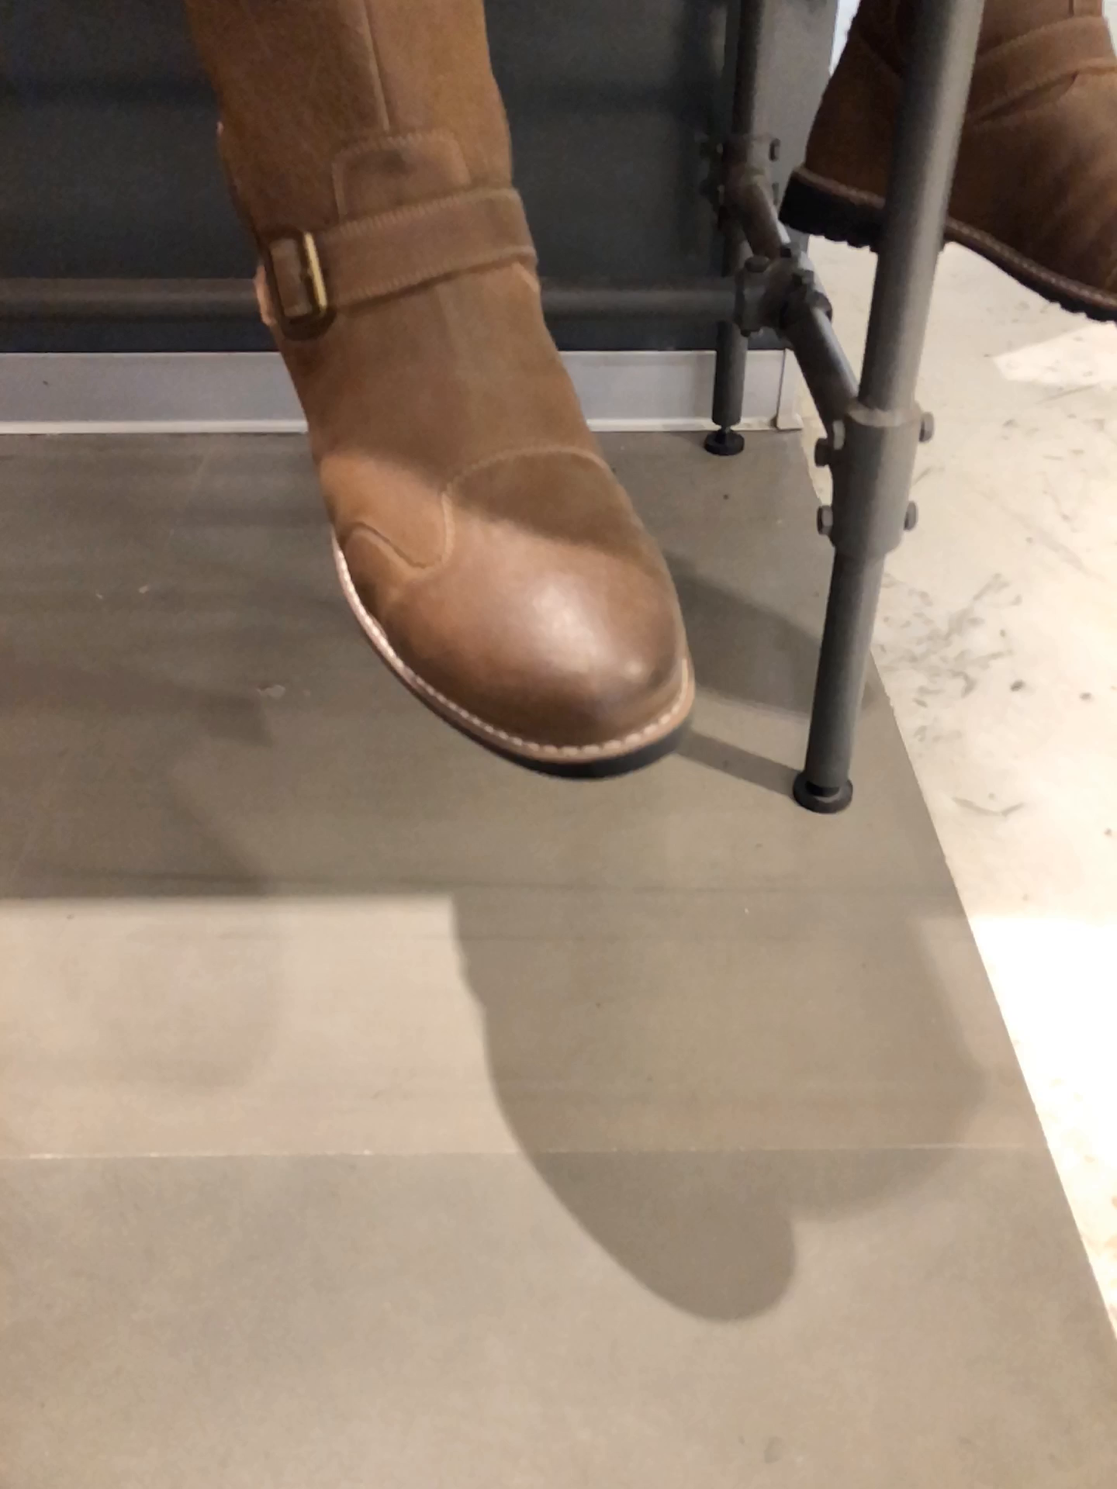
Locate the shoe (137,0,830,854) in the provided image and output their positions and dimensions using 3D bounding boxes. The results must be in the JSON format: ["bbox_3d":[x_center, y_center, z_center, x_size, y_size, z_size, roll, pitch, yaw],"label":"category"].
[{"bbox_3d":[-0.038,-0.143,0.408,0.109,0.206,0.275,-18,44,-14],"label":"shoe"}]

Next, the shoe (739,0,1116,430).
[{"bbox_3d":[0.283,-0.324,0.609,0.324,0.206,0.114,31,37,23],"label":"shoe"}]
